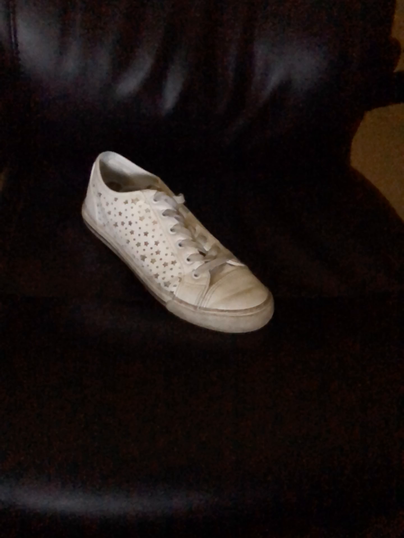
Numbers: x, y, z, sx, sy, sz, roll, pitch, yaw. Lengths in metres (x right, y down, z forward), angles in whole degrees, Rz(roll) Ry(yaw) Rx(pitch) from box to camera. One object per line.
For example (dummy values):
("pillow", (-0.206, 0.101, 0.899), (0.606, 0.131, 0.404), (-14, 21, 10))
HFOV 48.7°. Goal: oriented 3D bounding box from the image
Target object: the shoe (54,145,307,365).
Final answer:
("shoe", (-0.035, -0.032, 0.475), (0.260, 0.099, 0.101), (33, 45, 32))
